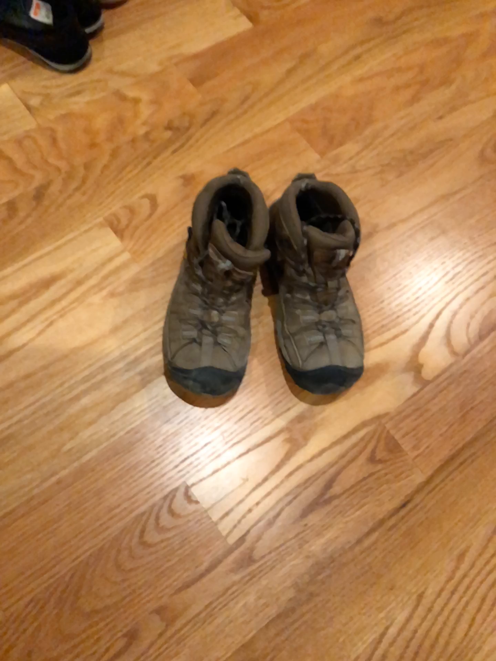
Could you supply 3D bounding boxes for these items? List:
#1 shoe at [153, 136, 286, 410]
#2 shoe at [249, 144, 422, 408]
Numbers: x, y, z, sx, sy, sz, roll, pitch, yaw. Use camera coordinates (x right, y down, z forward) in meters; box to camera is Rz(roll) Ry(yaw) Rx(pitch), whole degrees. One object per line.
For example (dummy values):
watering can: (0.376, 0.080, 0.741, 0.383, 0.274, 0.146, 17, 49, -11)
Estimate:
shoe: (-0.032, -0.059, 0.613, 0.107, 0.139, 0.260, 7, 68, -6)
shoe: (0.086, -0.060, 0.631, 0.107, 0.139, 0.260, -7, 70, -11)
